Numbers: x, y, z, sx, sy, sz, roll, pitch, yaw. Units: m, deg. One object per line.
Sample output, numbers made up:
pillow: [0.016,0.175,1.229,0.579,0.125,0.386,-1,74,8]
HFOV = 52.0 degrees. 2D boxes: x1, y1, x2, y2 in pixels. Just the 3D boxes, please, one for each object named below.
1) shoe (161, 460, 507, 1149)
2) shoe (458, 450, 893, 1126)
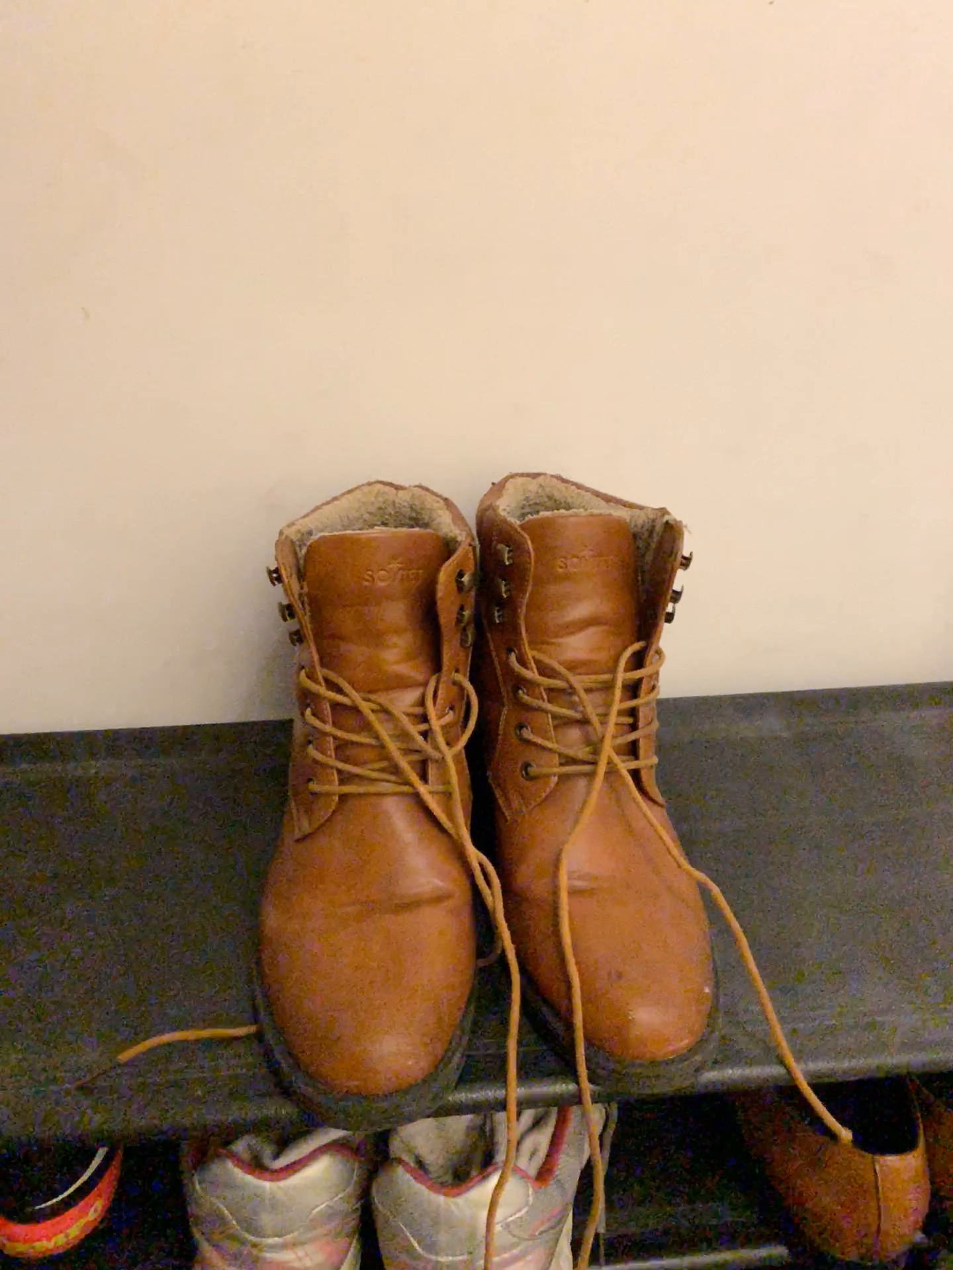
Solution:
shoe: [-0.050,0.060,0.478,0.110,0.198,0.273,0,32,-2]
shoe: [0.063,0.053,0.466,0.110,0.198,0.242,-4,32,-8]
